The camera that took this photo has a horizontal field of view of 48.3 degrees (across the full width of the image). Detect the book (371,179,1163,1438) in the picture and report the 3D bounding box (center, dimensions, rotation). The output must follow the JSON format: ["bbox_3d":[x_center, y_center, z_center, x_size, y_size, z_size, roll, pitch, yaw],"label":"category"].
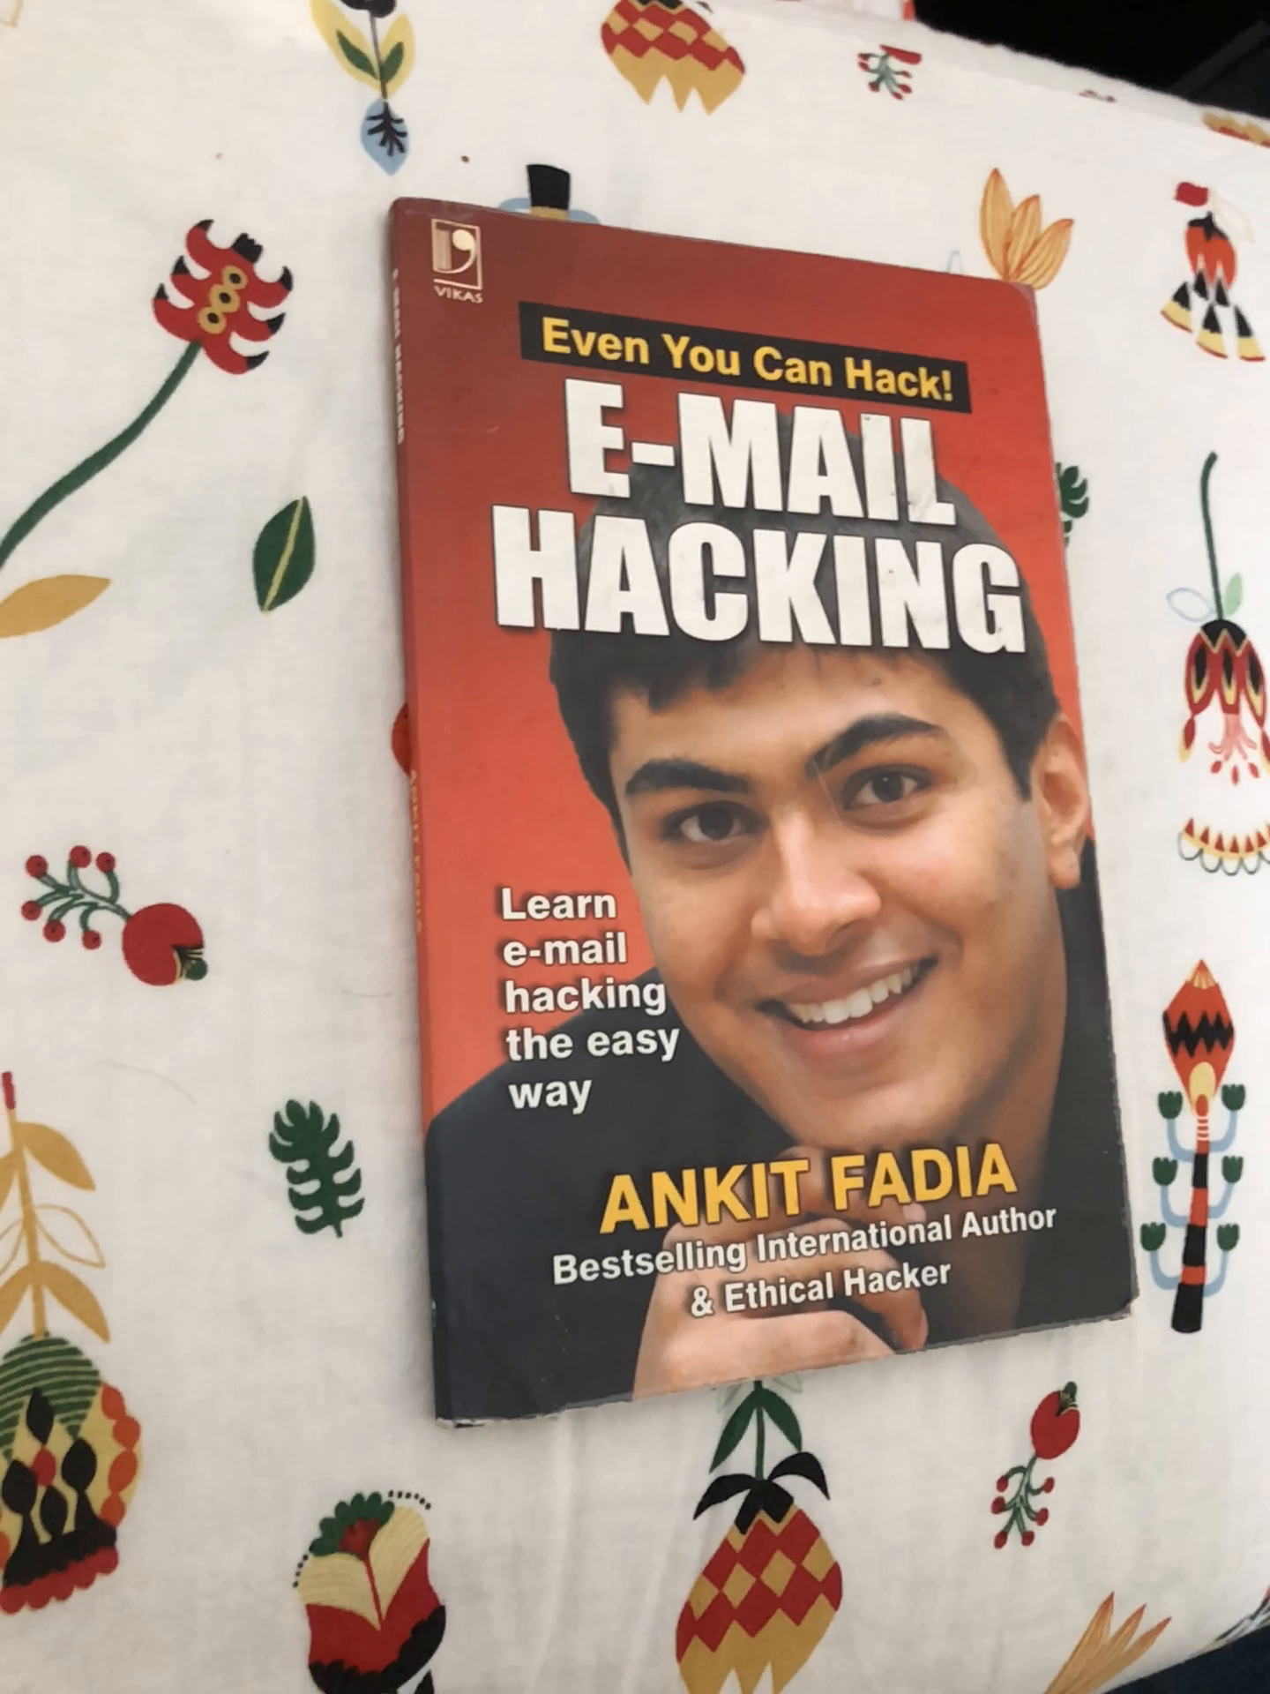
[{"bbox_3d":[0.025,-0.010,0.260,0.138,0.020,0.204,-1,84,-20],"label":"book"}]
